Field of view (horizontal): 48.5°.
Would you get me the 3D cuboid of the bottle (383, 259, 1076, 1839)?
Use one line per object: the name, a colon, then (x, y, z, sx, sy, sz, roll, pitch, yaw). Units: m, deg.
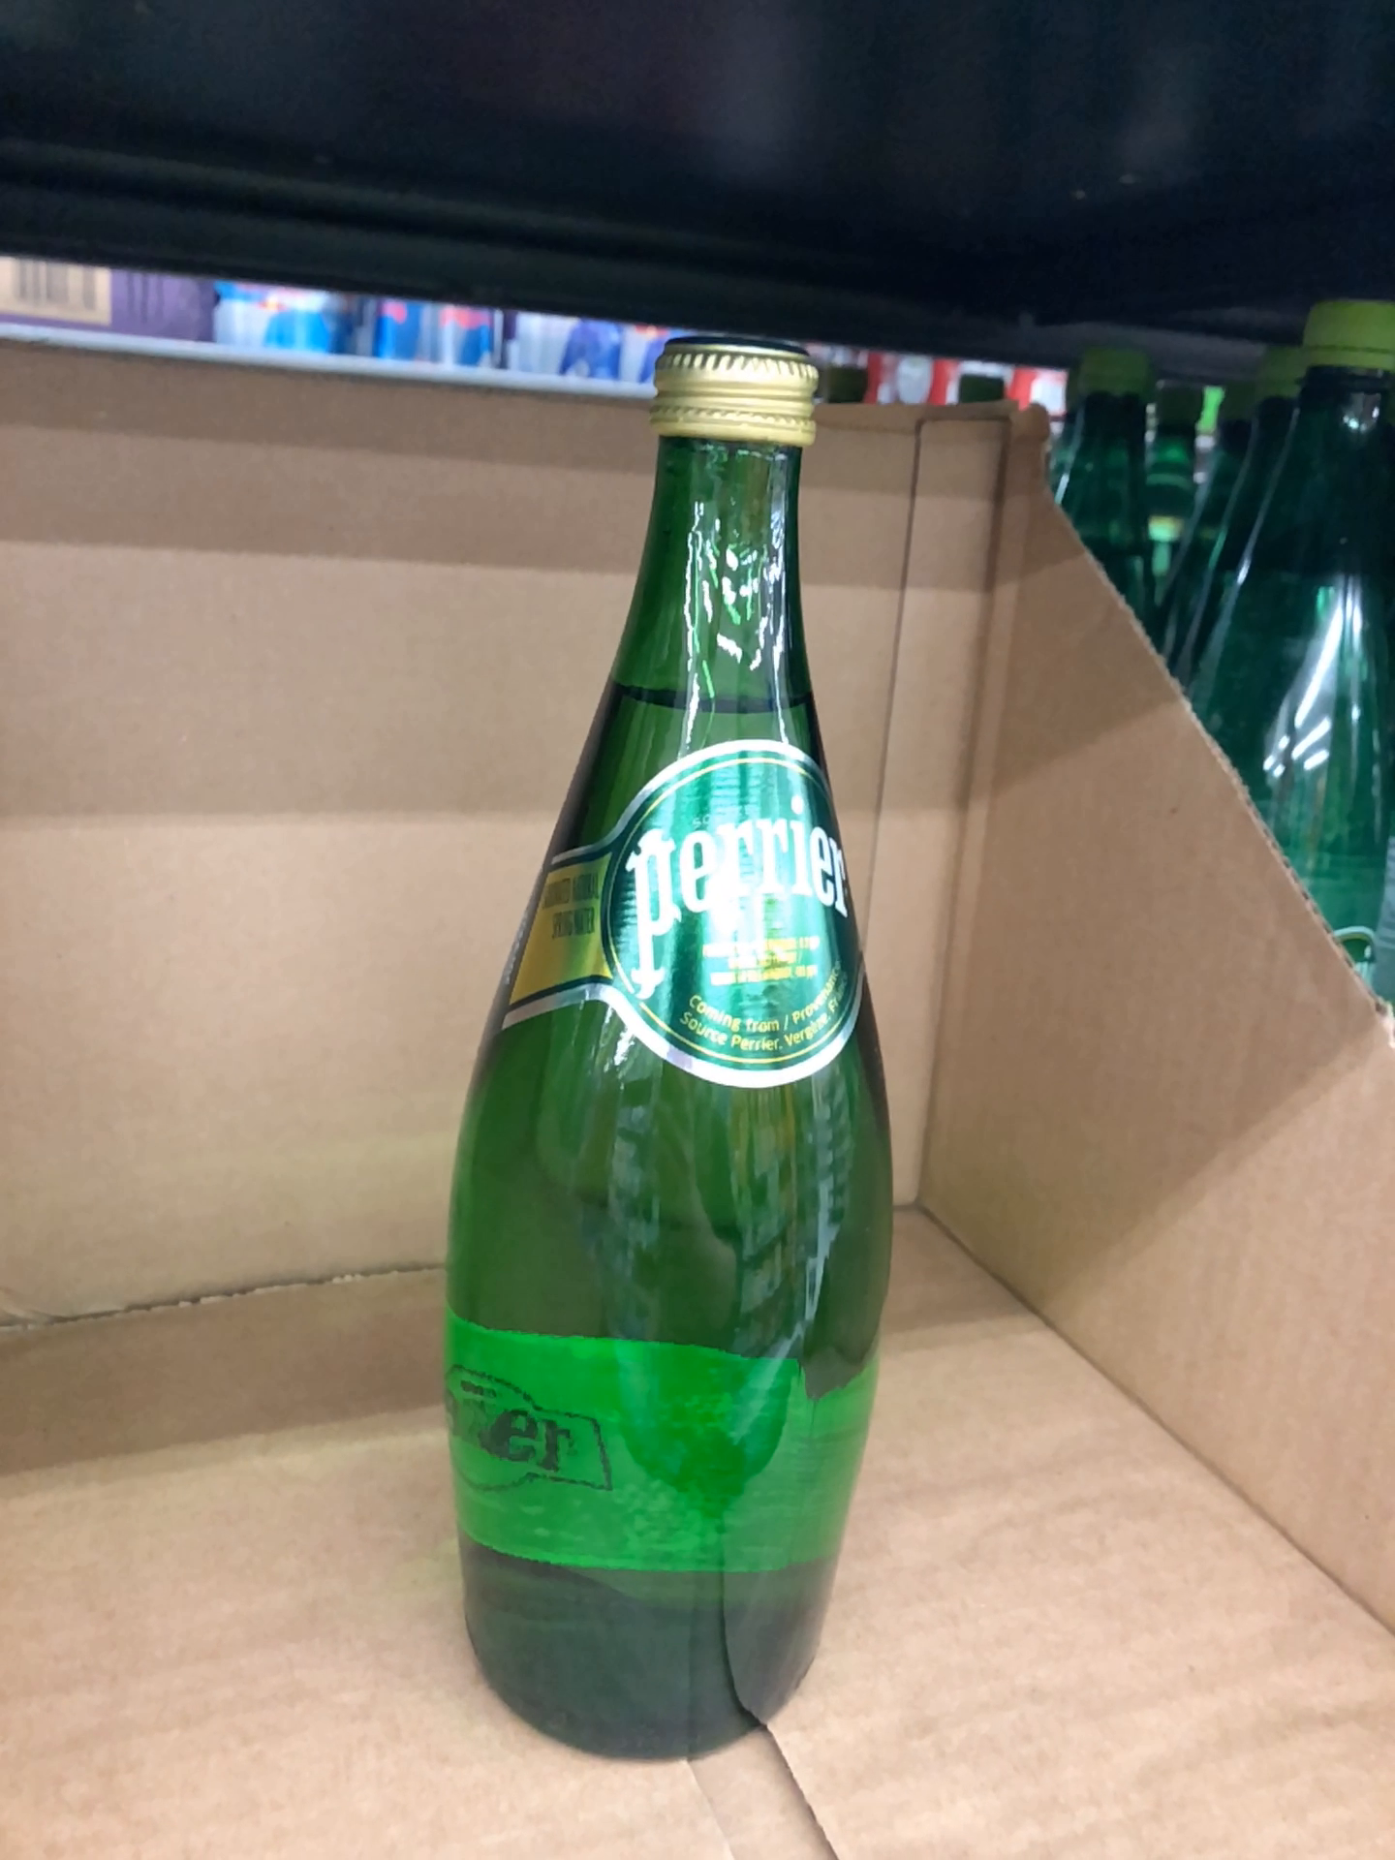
bottle: (-0.006, 0.024, 0.300, 0.090, 0.269, 0.080, -2, 17, -22)

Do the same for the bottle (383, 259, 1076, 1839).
bottle: (-0.006, 0.024, 0.300, 0.090, 0.269, 0.080, -2, 17, -22)
